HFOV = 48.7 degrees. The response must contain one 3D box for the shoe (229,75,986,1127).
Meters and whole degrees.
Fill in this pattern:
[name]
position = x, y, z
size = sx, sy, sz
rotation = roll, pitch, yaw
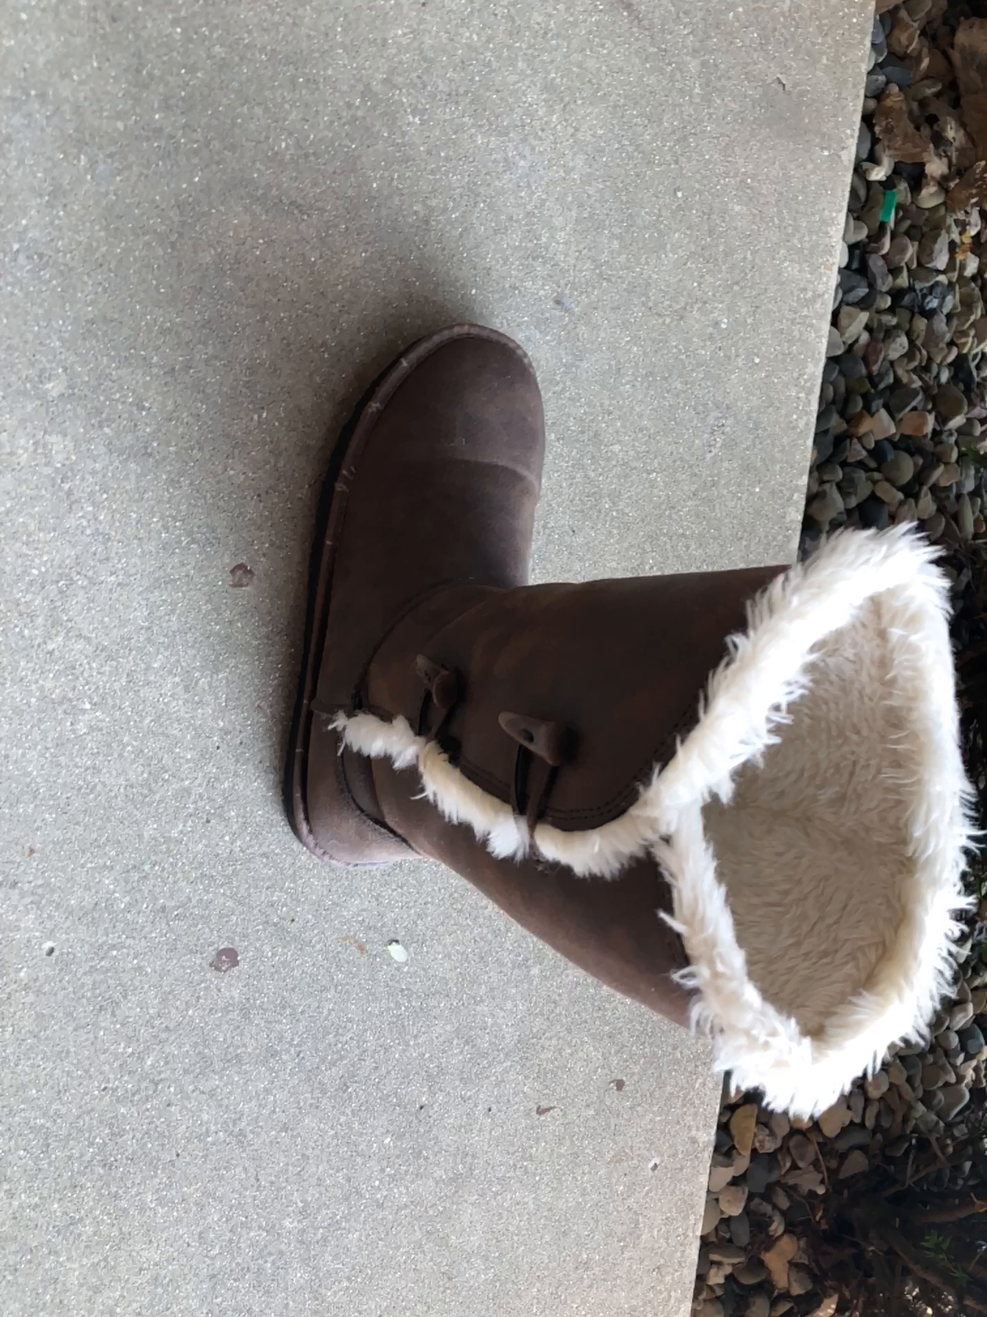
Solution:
[shoe]
position = 0.045, -0.017, 0.444
size = 0.121, 0.318, 0.280
rotation = 18, 84, -35
